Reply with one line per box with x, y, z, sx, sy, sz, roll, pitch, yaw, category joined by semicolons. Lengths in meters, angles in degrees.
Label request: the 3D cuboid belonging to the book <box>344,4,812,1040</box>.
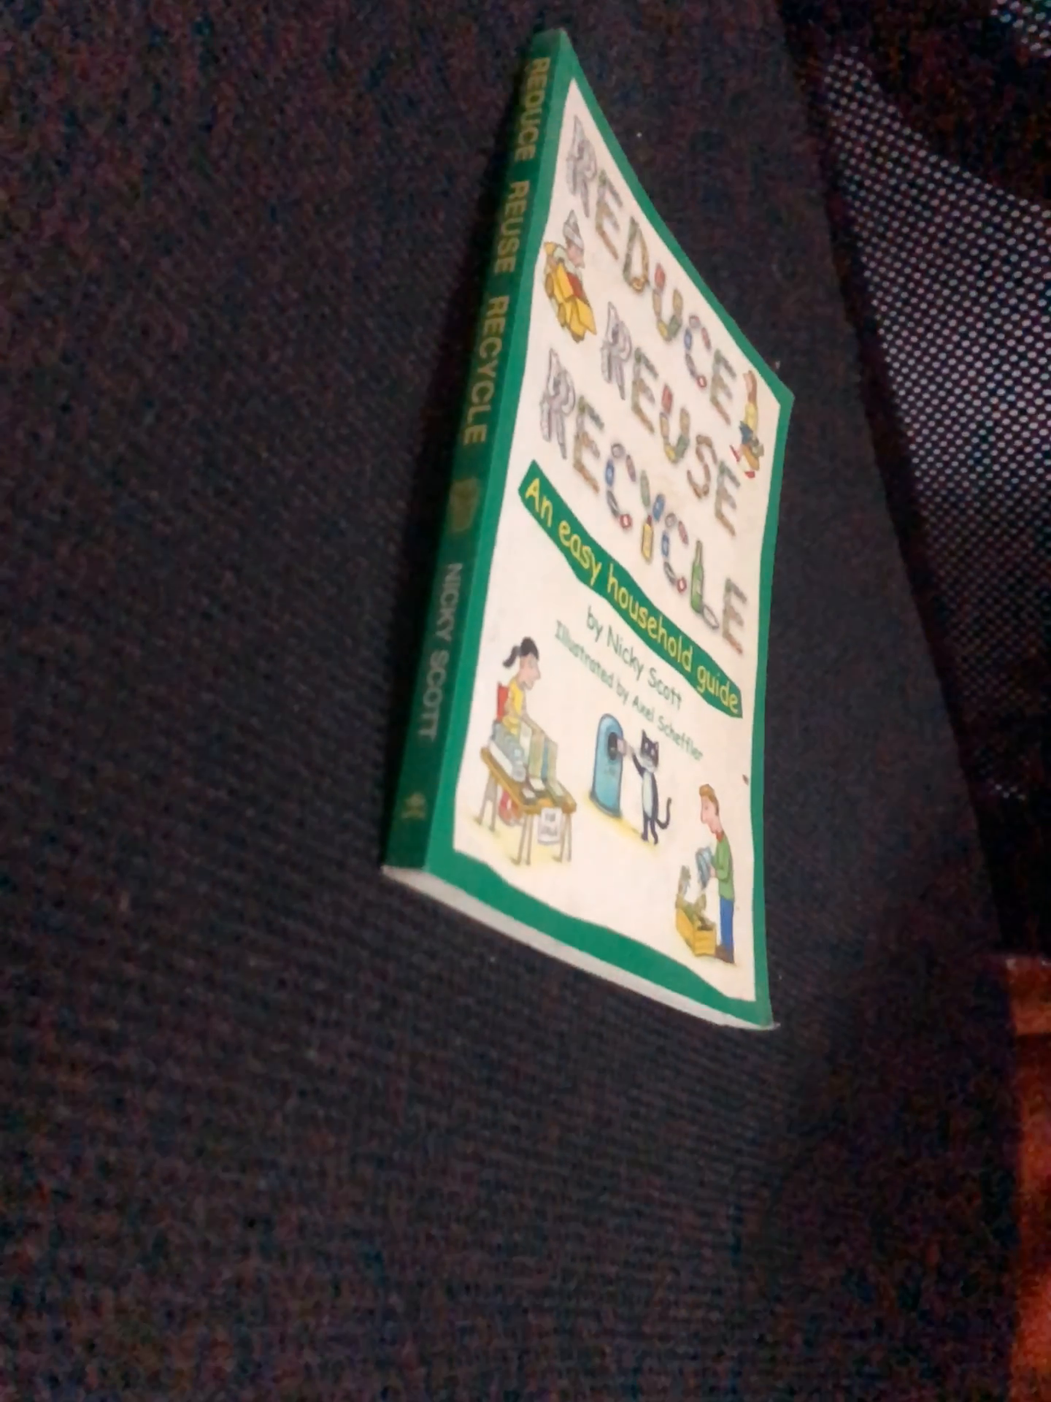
0.027;-0.029;0.245;0.131;0.018;0.173;37;53;-48;book
